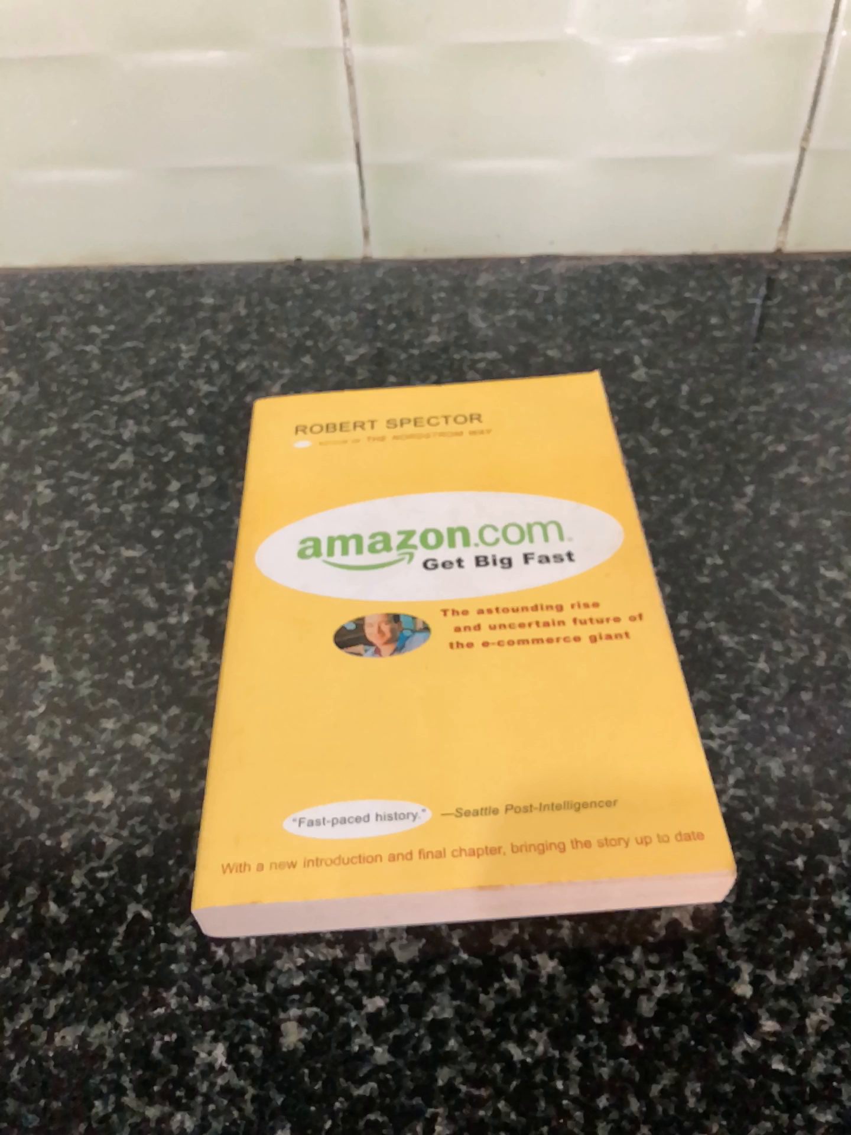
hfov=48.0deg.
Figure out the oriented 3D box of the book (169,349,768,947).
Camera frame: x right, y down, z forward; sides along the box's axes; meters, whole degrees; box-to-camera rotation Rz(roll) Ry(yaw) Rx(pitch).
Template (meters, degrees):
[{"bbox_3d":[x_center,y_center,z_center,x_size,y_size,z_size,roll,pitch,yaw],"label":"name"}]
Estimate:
[{"bbox_3d":[0.007,0.007,0.307,0.140,0.030,0.211,-3,47,0],"label":"book"}]
